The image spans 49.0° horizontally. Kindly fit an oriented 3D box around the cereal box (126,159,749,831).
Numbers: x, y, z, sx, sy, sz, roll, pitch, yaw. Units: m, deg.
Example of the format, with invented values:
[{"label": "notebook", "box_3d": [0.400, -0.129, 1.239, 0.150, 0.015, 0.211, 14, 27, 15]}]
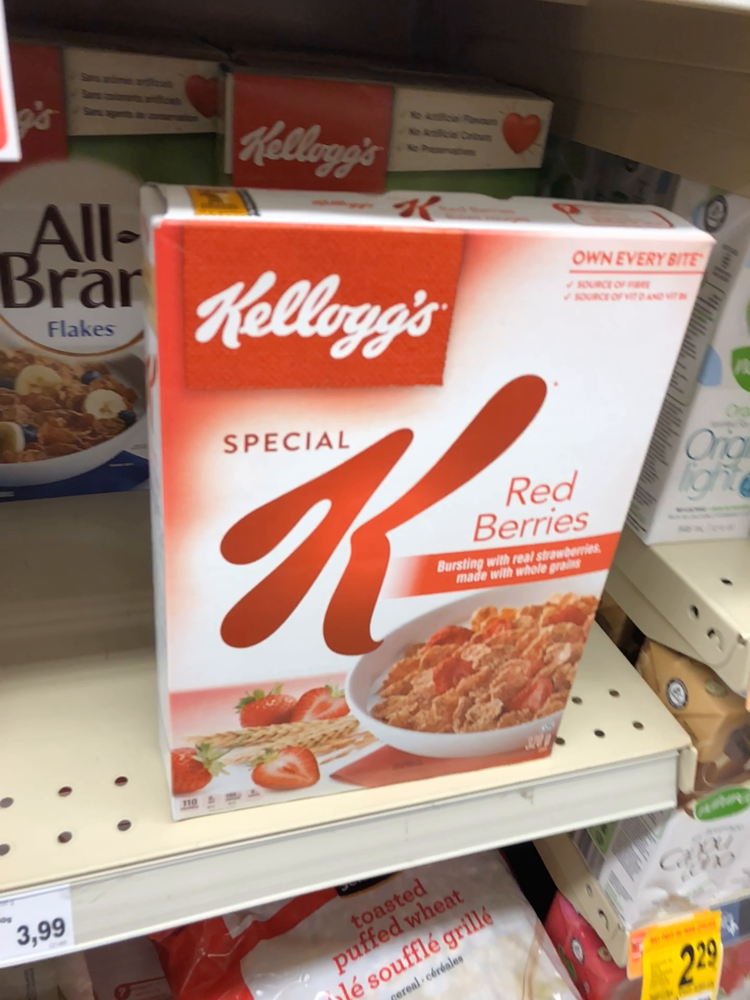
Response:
[{"label": "cereal box", "box_3d": [0.009, 0.012, 0.357, 0.210, 0.278, 0.060, -4, 34, -17]}]
